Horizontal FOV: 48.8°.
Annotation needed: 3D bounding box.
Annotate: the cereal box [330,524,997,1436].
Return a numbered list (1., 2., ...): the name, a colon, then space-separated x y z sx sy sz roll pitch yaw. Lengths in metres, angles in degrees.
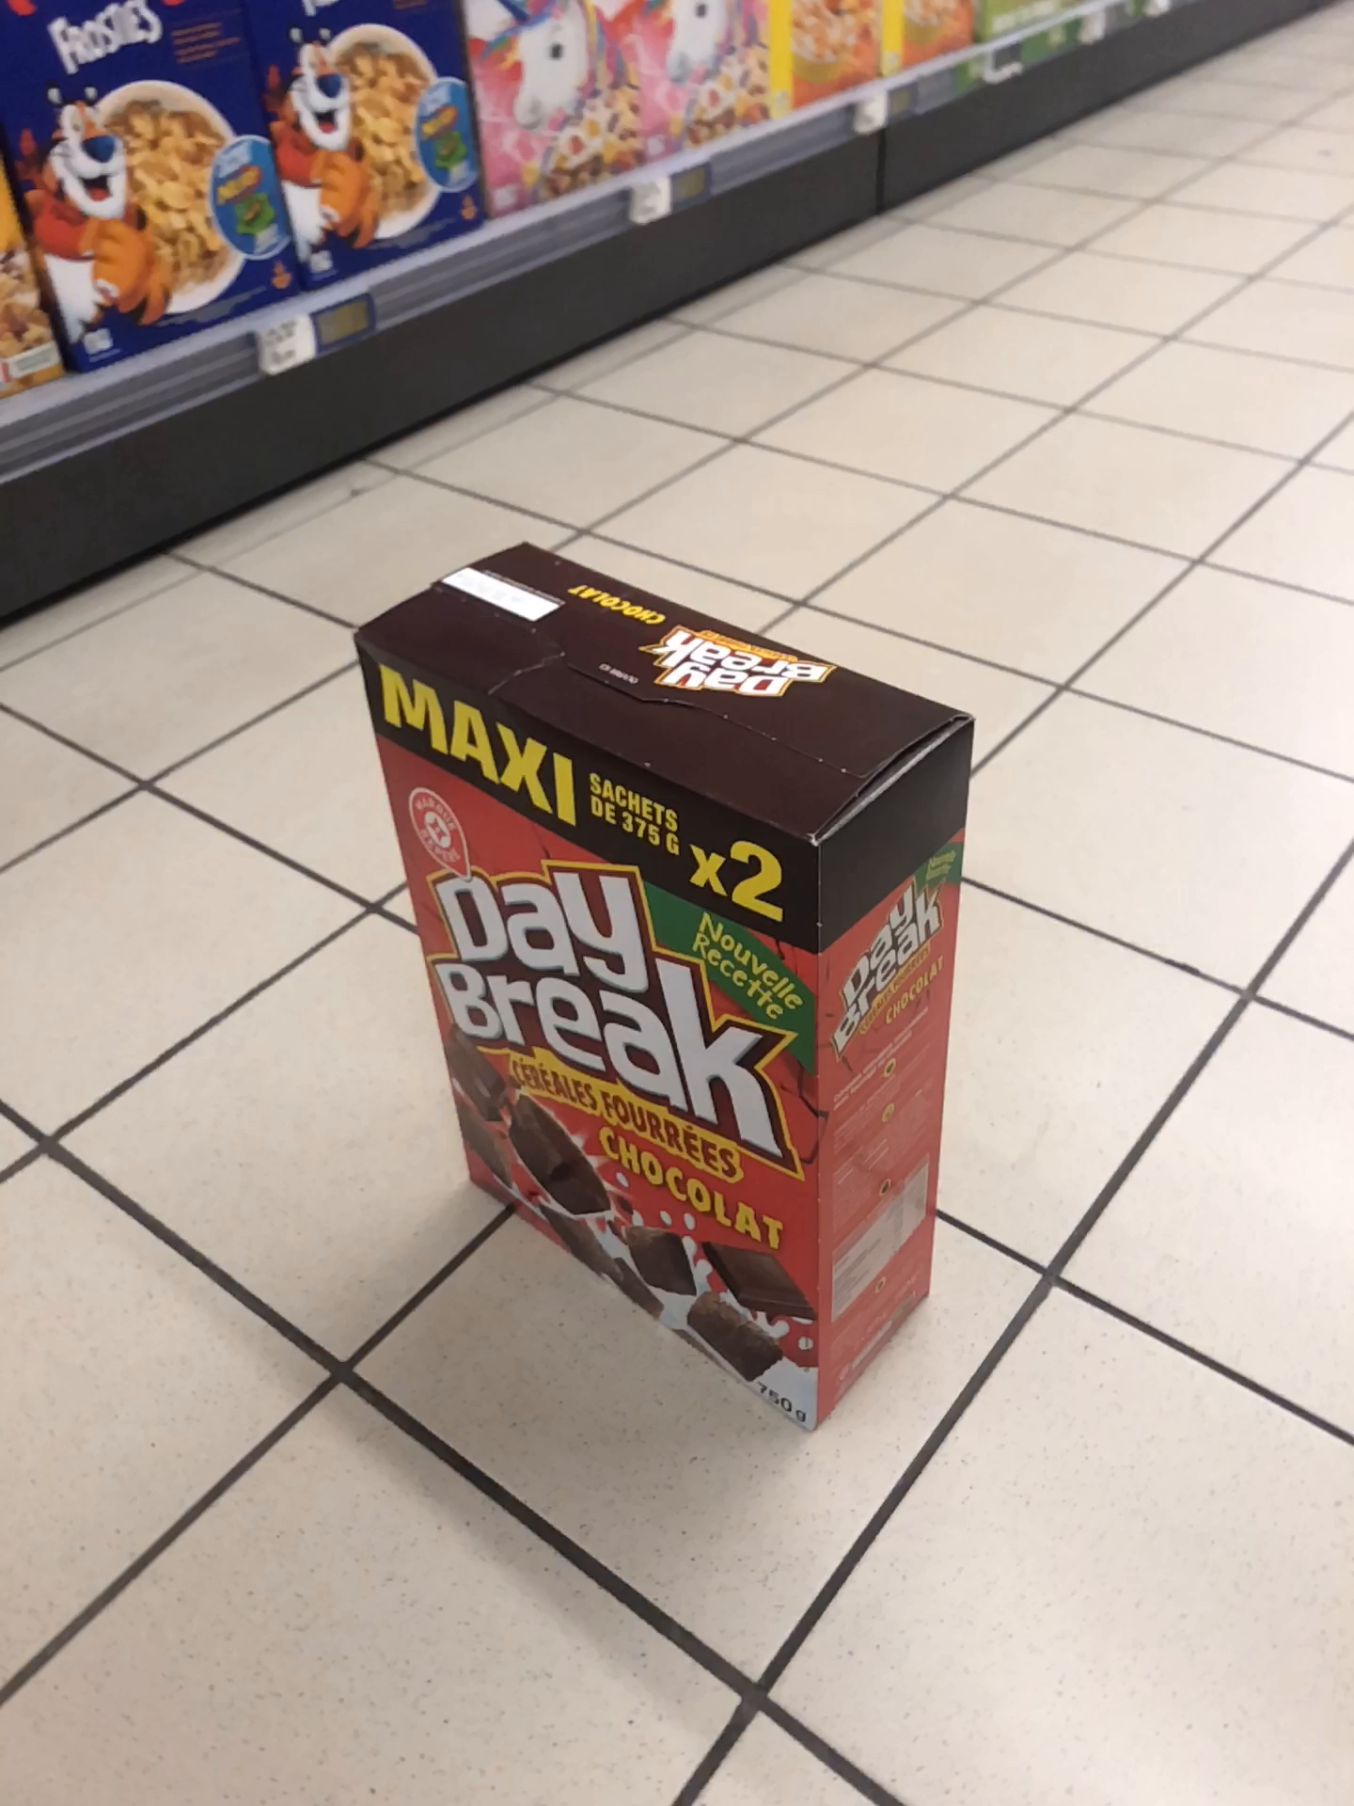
1. cereal box: -0.005 0.031 0.555 0.200 0.278 0.091 28 48 32
